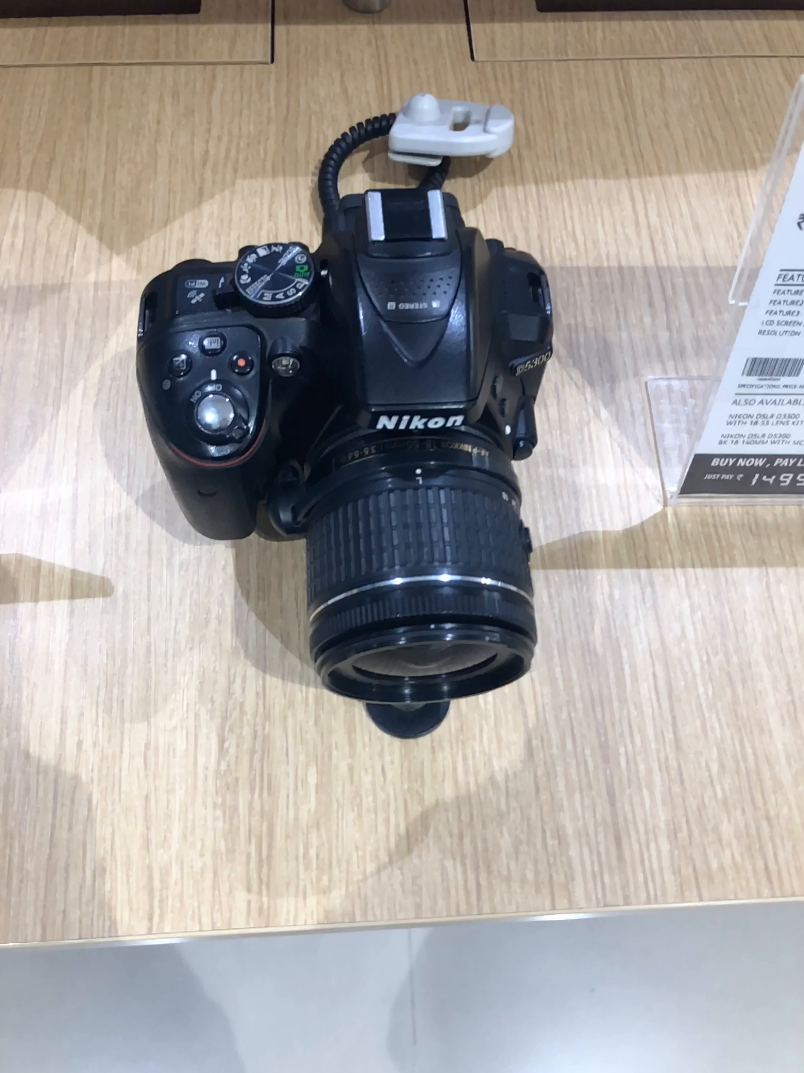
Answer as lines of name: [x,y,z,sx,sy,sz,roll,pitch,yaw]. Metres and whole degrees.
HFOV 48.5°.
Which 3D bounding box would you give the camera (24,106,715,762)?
camera: [-0.010,-0.028,0.232,0.130,0.070,0.150,-2,65,-3]
